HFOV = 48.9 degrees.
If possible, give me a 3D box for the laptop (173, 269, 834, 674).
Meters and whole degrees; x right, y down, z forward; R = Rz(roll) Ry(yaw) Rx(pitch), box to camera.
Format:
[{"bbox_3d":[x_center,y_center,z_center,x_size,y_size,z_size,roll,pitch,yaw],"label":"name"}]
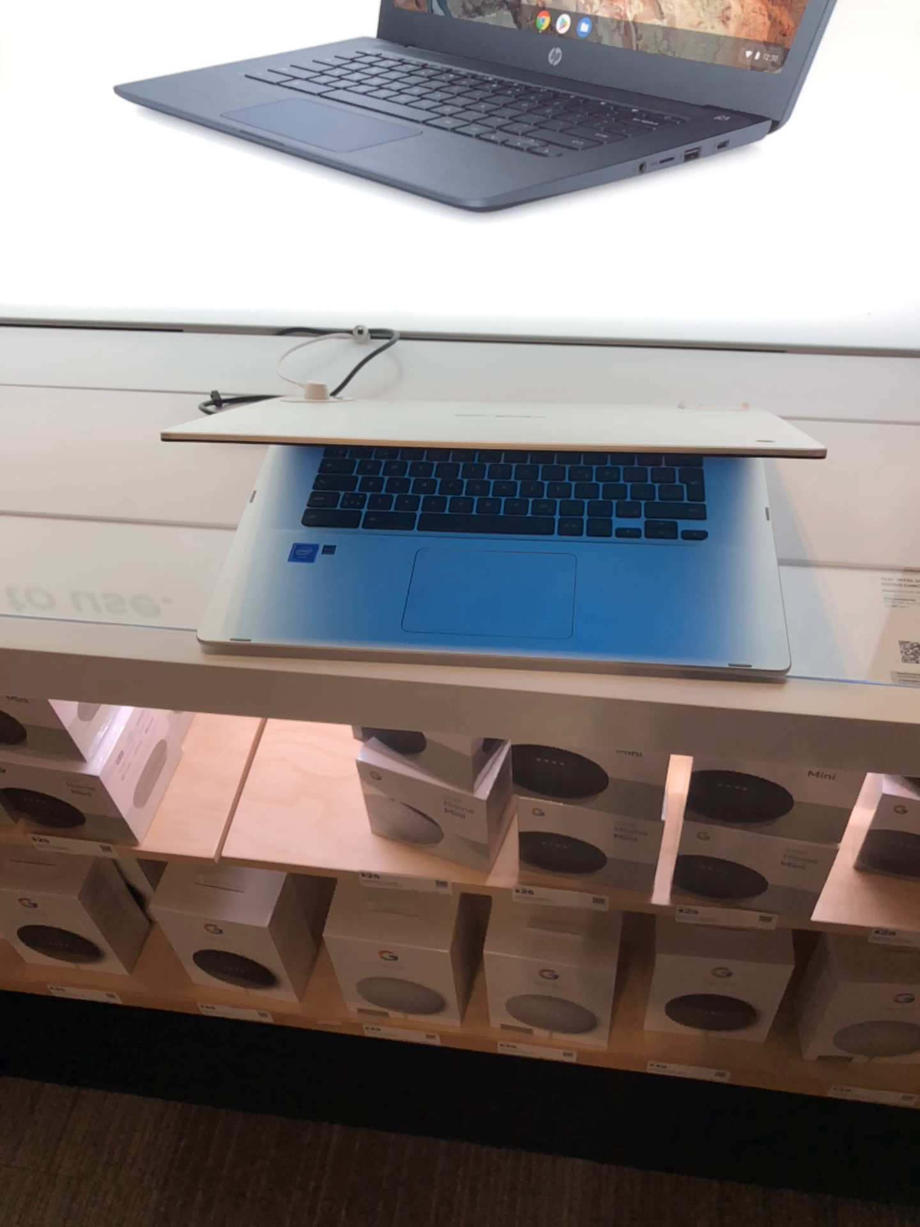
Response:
[{"bbox_3d":[0.028,-0.100,0.628,0.341,0.113,0.222,3,49,9],"label":"laptop"}]
